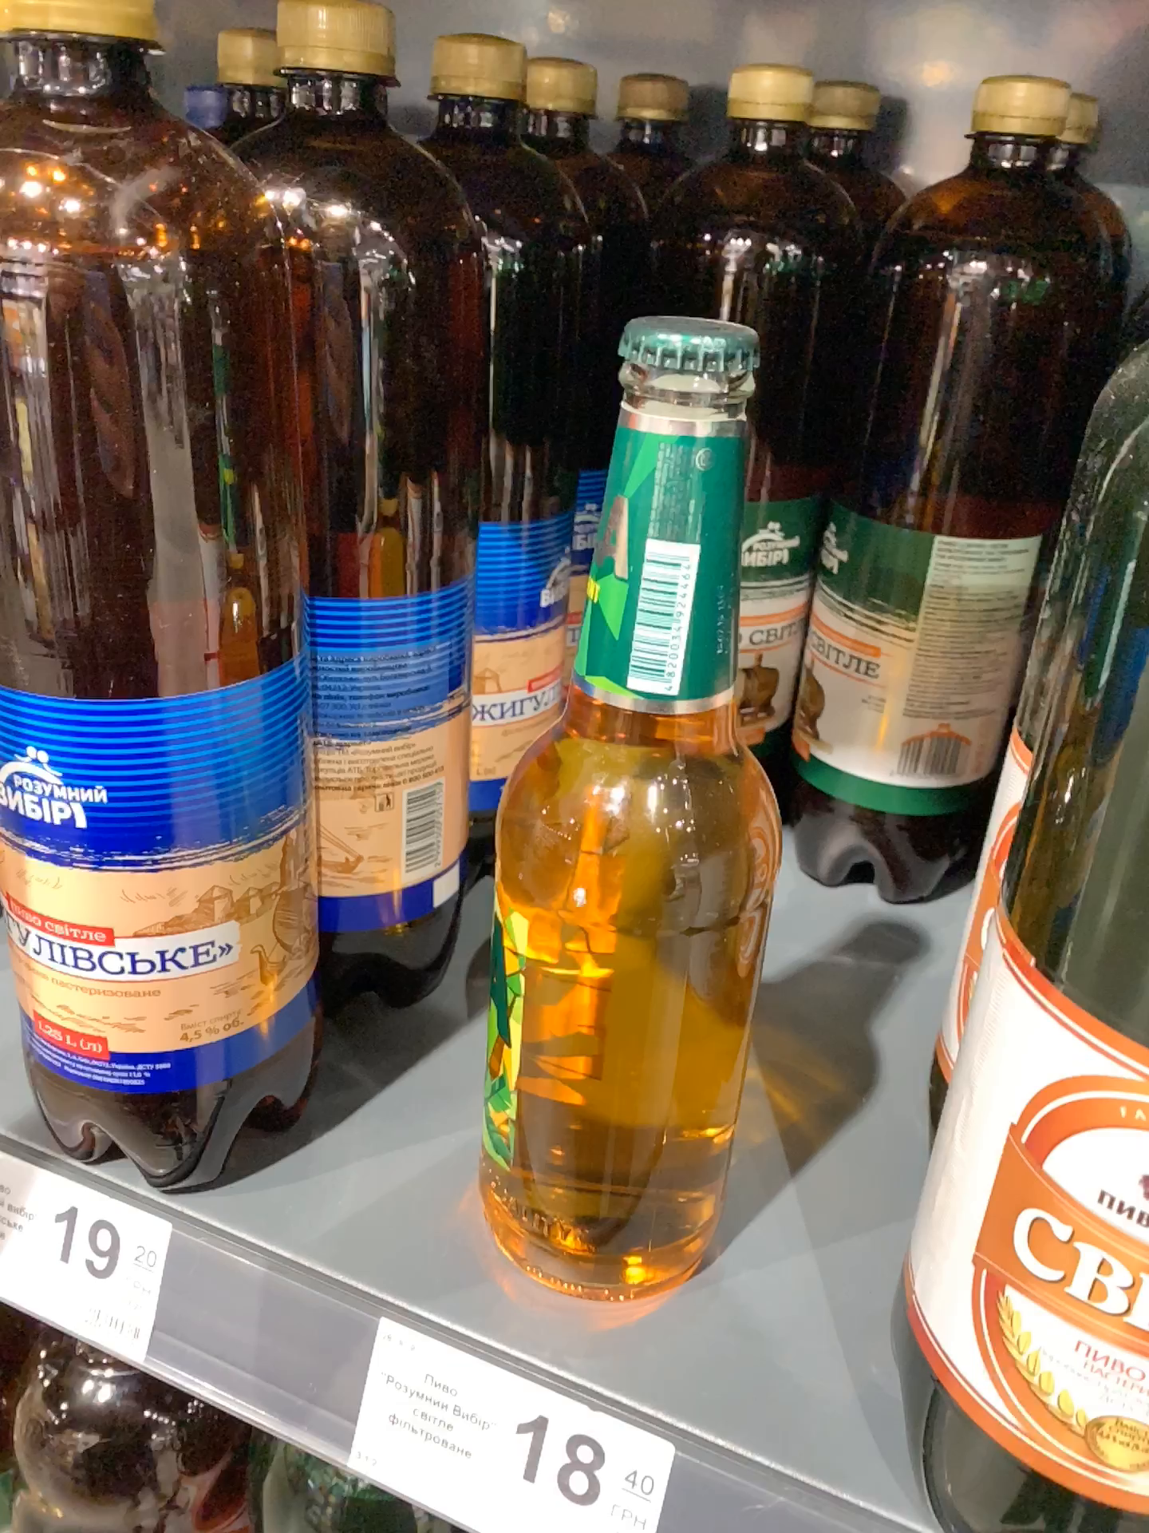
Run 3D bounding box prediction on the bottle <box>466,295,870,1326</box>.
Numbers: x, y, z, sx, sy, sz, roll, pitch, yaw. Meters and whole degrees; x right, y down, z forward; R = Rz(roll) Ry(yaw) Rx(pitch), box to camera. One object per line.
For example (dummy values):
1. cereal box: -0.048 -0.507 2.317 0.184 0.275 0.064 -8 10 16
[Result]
1. bottle: 0.017 0.018 0.291 0.066 0.238 0.072 3 27 -2
